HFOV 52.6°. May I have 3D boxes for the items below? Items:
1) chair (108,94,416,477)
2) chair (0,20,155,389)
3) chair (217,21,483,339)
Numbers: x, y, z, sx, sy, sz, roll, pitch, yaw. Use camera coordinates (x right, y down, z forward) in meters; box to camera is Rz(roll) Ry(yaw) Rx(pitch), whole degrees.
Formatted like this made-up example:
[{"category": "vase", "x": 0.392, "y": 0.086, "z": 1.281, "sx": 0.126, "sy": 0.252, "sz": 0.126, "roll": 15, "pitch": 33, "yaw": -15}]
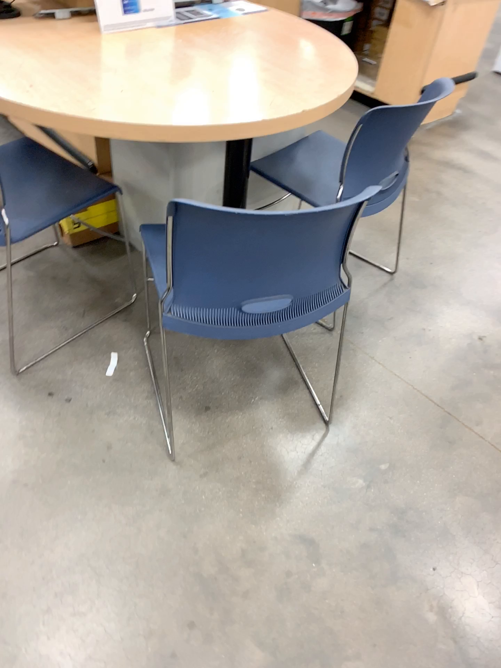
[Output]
[{"category": "chair", "x": -0.049, "y": -0.123, "z": 1.307, "sx": 0.484, "sy": 0.749, "sz": 0.553, "roll": -9, "pitch": 47, "yaw": -17}, {"category": "chair", "x": -0.659, "y": -0.370, "z": 1.428, "sx": 0.484, "sy": 0.729, "sz": 0.573, "roll": 32, "pitch": 49, "yaw": 22}, {"category": "chair", "x": 0.271, "y": -0.505, "z": 1.670, "sx": 0.532, "sy": 0.749, "sz": 0.485, "roll": 33, "pitch": 49, "yaw": 23}]
